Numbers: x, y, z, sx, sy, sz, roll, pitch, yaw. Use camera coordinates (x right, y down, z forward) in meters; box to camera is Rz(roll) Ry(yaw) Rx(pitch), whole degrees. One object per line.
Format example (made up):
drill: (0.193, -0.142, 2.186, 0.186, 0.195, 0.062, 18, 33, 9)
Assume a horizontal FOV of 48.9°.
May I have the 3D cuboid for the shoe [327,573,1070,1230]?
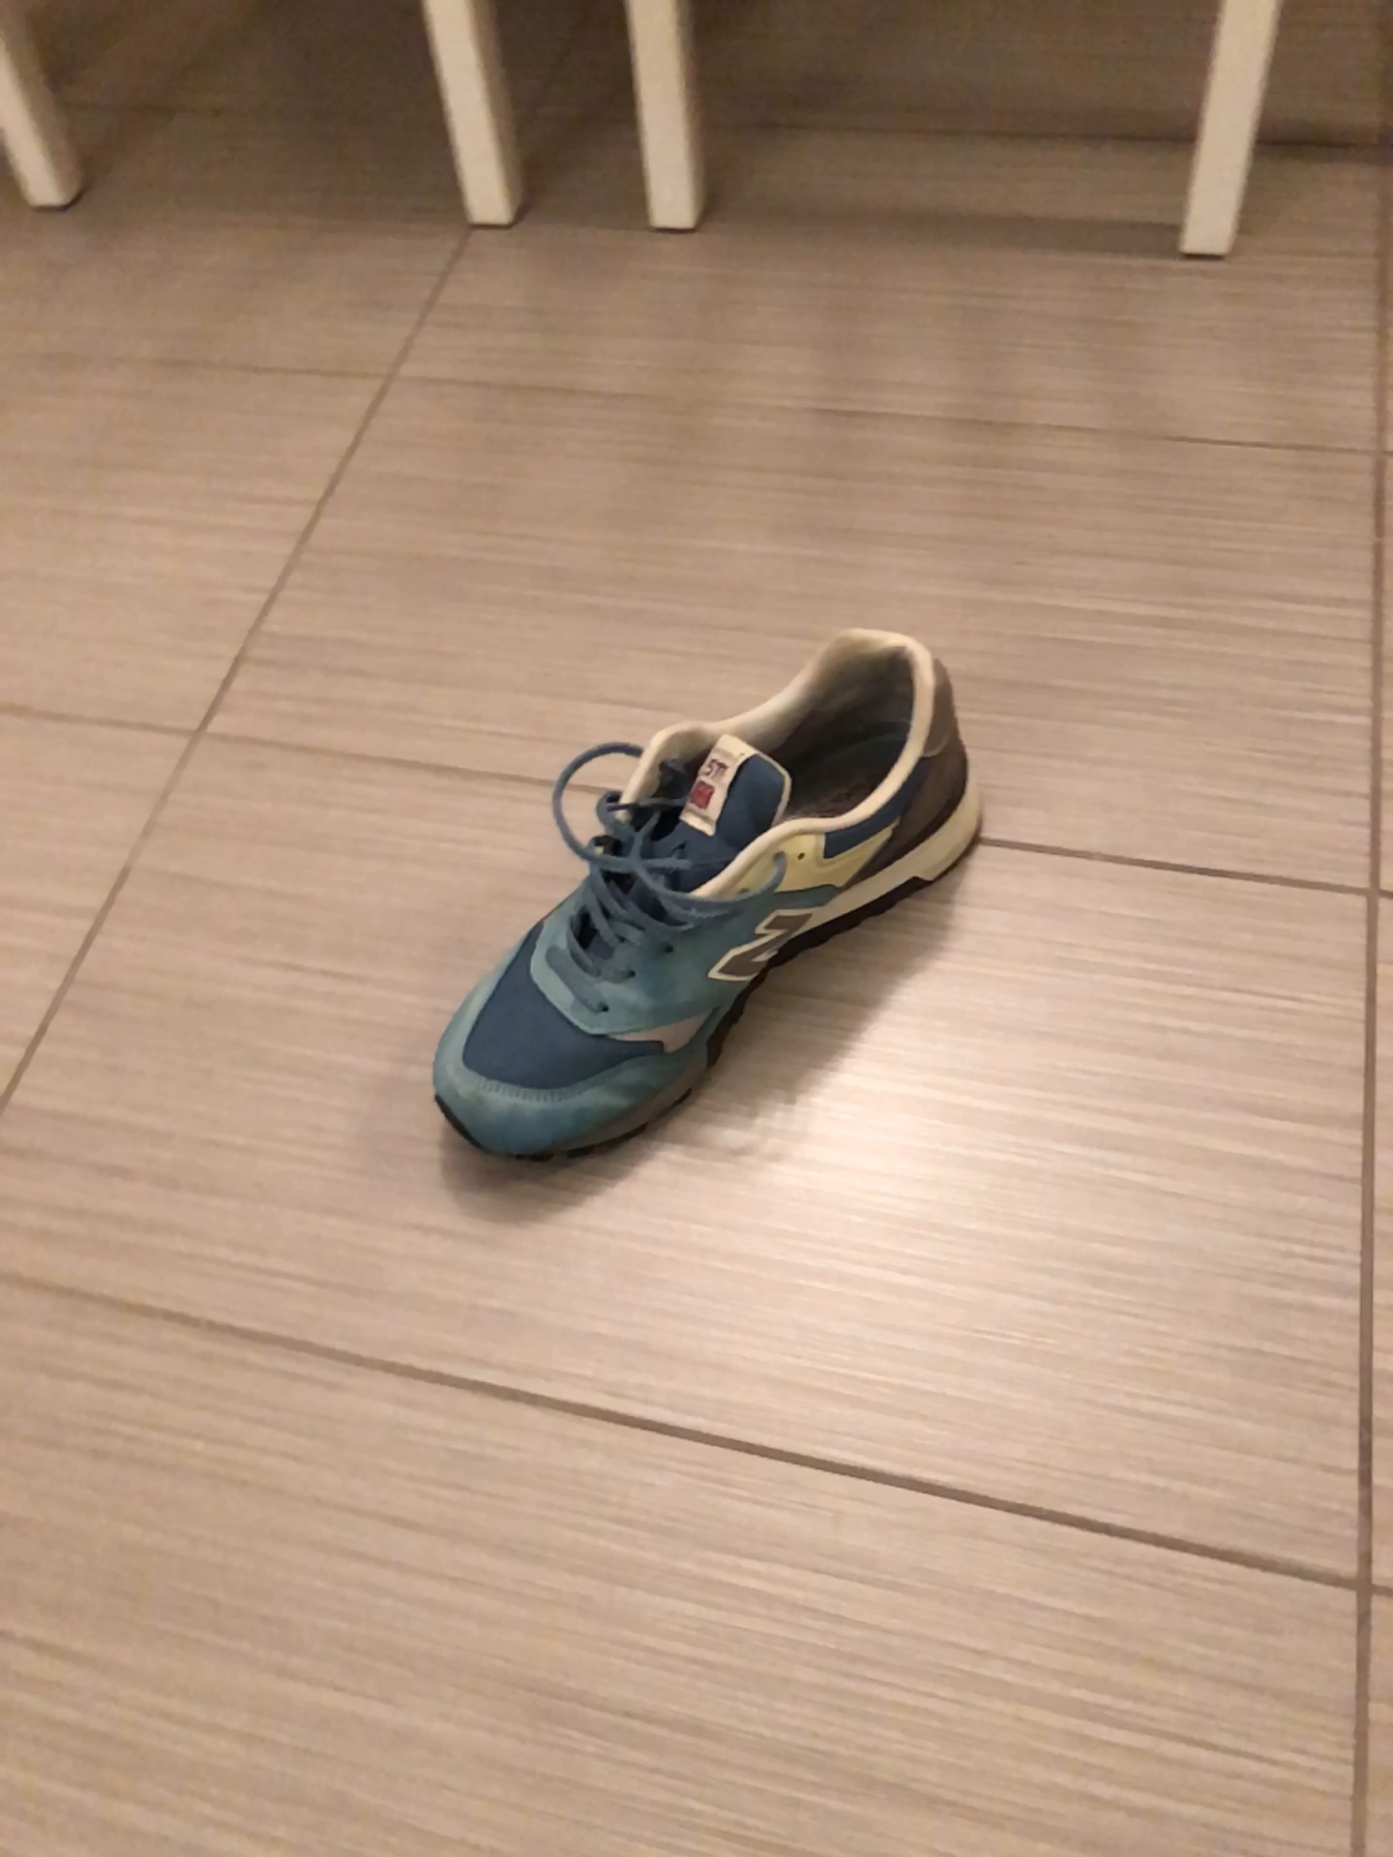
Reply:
shoe: (0.008, -0.022, 0.672, 0.301, 0.070, 0.130, -37, 59, -16)
